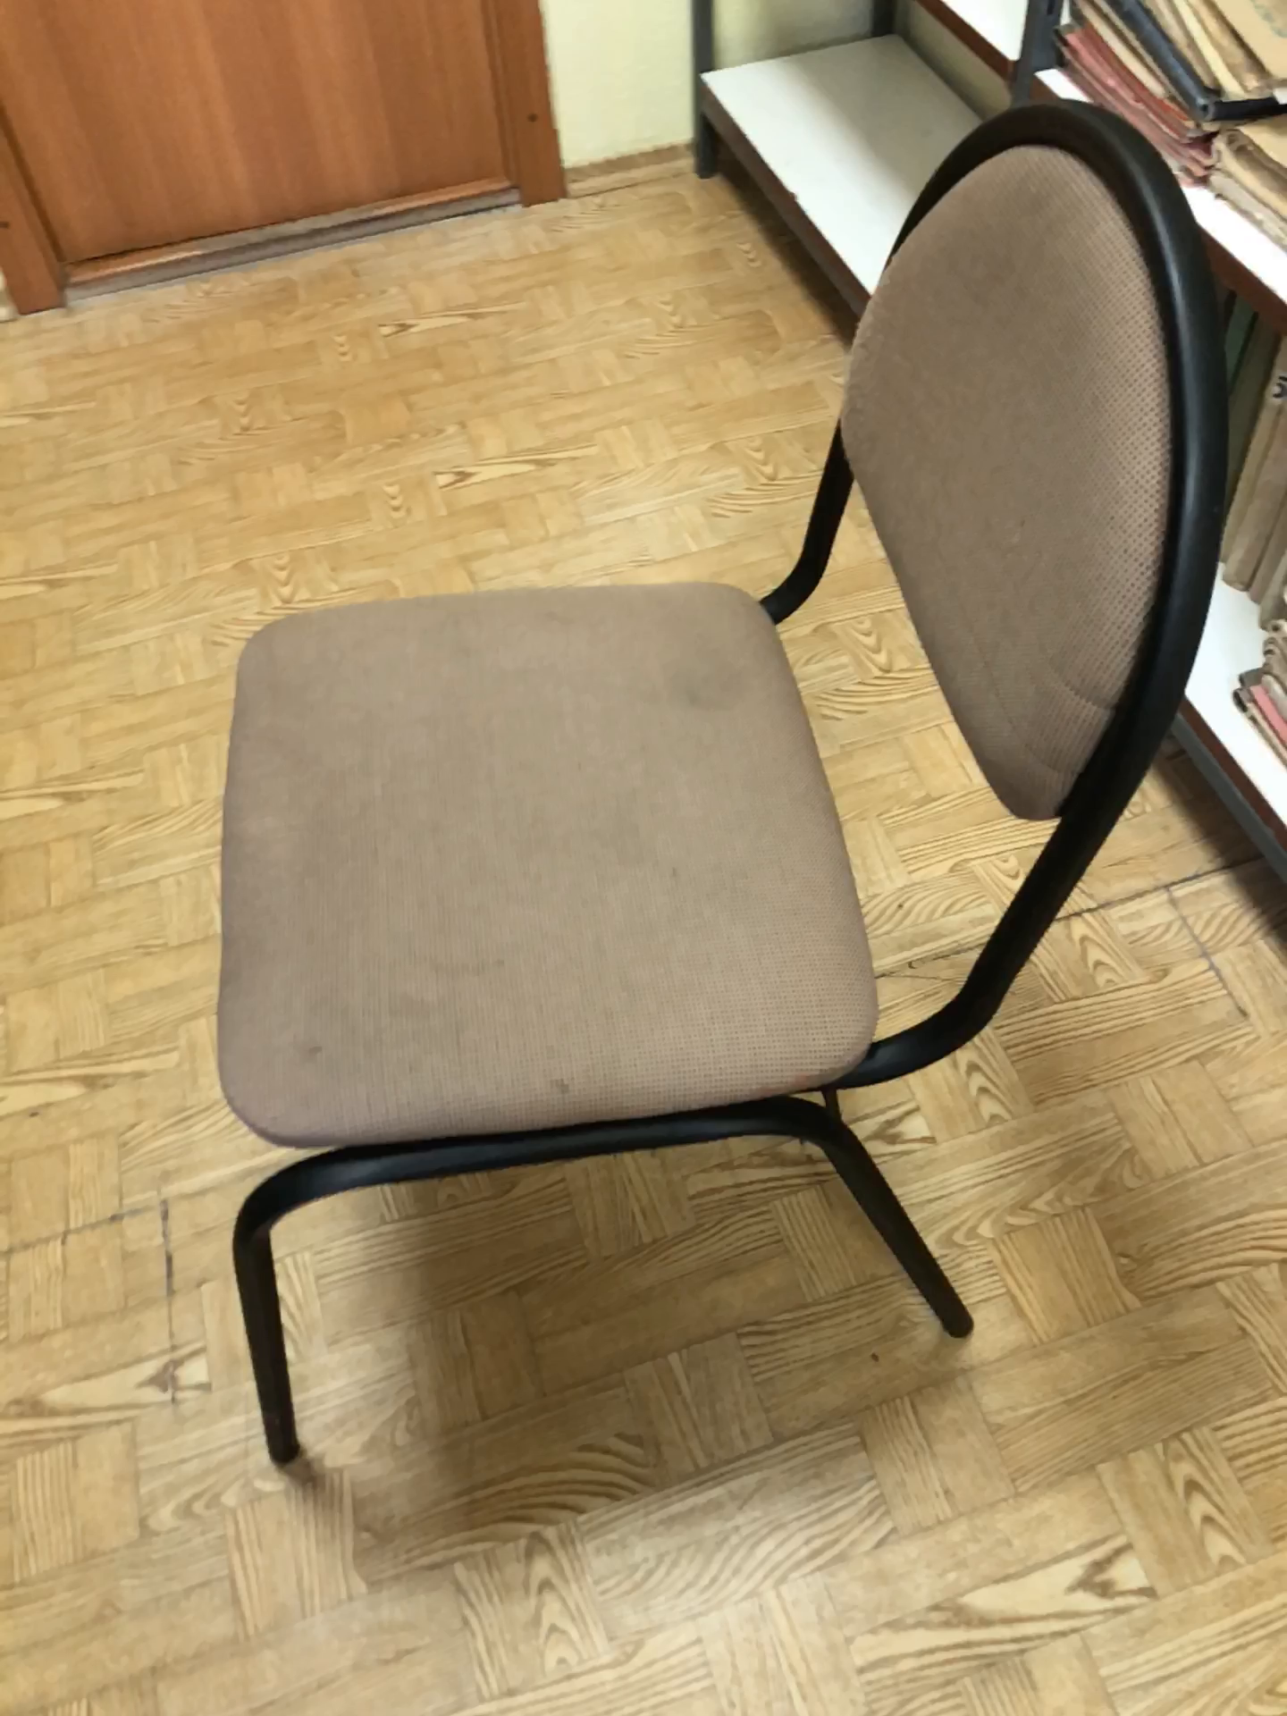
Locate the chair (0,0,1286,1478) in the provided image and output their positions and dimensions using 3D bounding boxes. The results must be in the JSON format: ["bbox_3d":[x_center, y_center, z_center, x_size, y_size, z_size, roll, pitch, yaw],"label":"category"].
[{"bbox_3d":[-0.056,-0.022,0.860,0.573,0.768,0.481,-9,52,-3],"label":"chair"}]
